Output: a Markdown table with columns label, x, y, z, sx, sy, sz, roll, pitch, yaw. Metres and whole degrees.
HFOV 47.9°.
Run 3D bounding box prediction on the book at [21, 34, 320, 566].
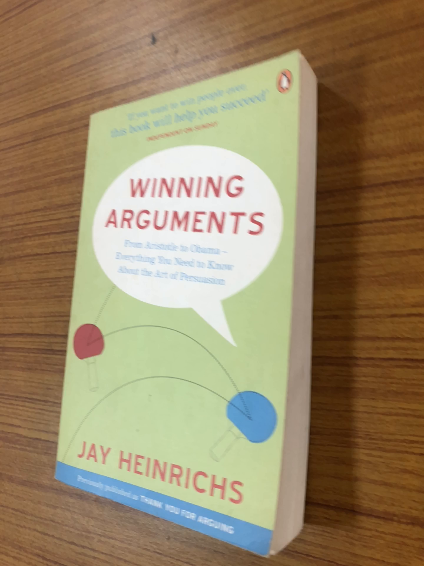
| label | x | y | z | sx | sy | sz | roll | pitch | yaw |
| --- | --- | --- | --- | --- | --- | --- | --- | --- | --- |
| book | -0.024 | 0.006 | 0.231 | 0.141 | 0.030 | 0.210 | -1 | 82 | 32 |
